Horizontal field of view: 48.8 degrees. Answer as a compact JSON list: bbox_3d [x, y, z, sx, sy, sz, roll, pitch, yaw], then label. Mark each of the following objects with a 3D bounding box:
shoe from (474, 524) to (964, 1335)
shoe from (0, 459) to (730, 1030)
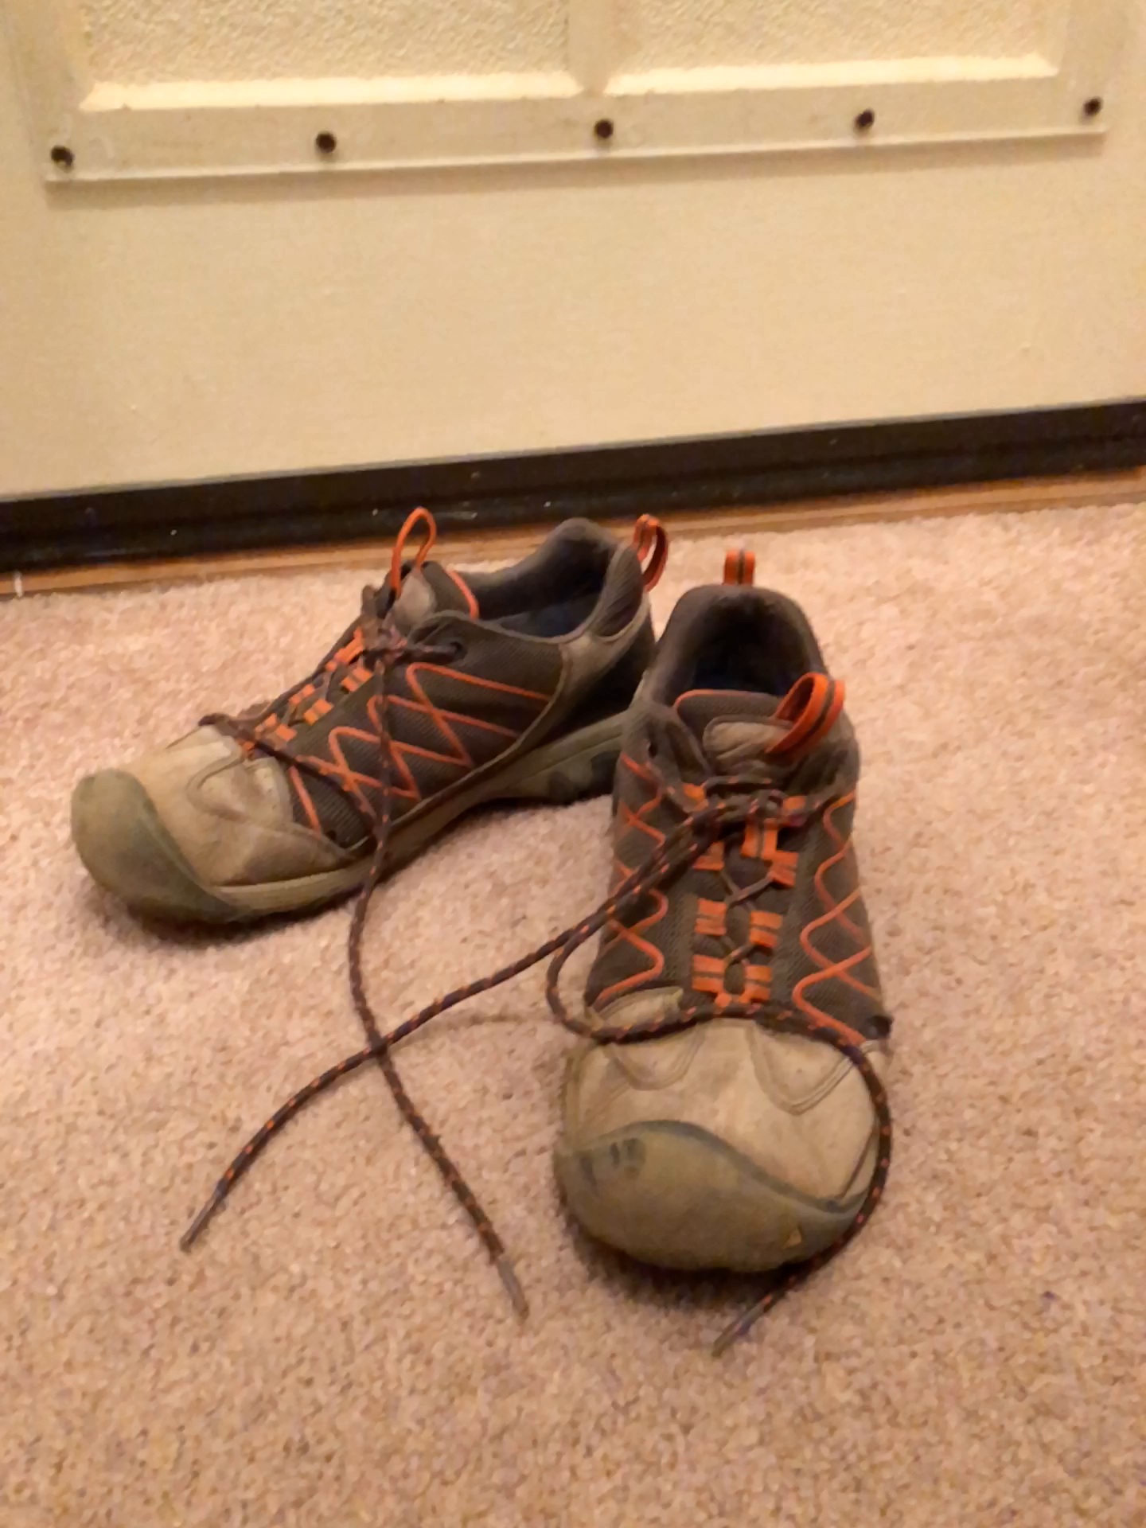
[{"bbox_3d":[0.055,0.035,0.456,0.120,0.129,0.272,5,36,7],"label":"shoe"},{"bbox_3d":[-0.085,-0.026,0.582,0.301,0.129,0.120,-23,41,-28],"label":"shoe"}]
